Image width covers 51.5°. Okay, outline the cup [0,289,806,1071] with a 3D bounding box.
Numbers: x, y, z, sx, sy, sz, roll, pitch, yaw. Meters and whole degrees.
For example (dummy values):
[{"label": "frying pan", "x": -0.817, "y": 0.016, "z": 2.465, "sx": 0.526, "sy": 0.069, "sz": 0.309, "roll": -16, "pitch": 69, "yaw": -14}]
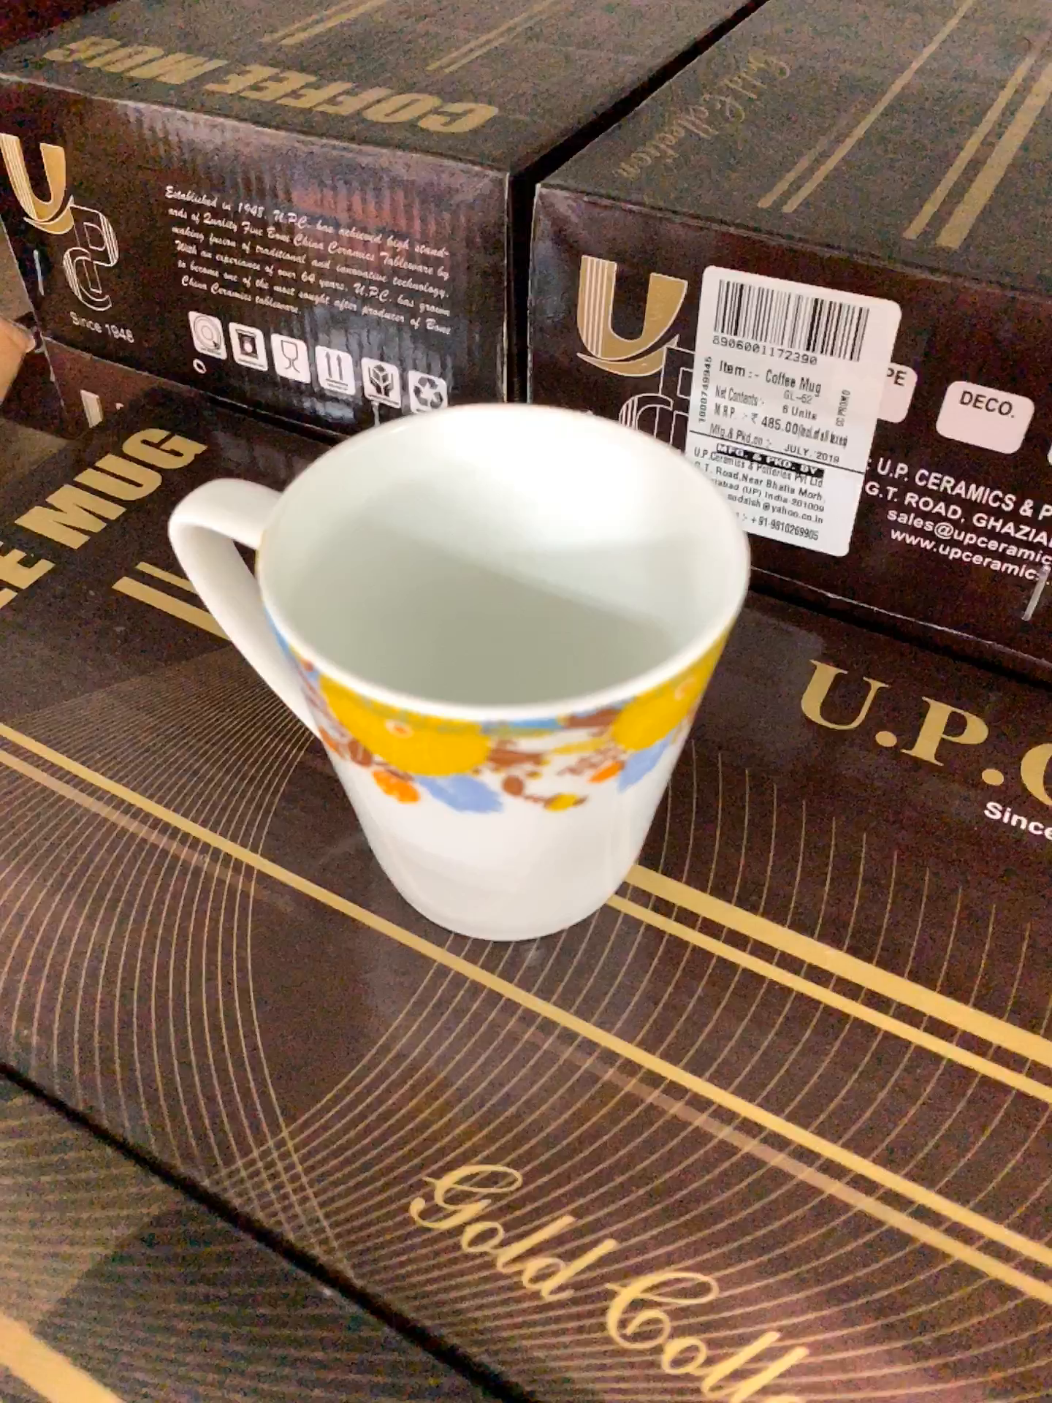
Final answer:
[{"label": "cup", "x": -0.017, "y": -0.007, "z": 0.173, "sx": 0.090, "sy": 0.069, "sz": 0.070, "roll": 22, "pitch": 51, "yaw": 20}]
